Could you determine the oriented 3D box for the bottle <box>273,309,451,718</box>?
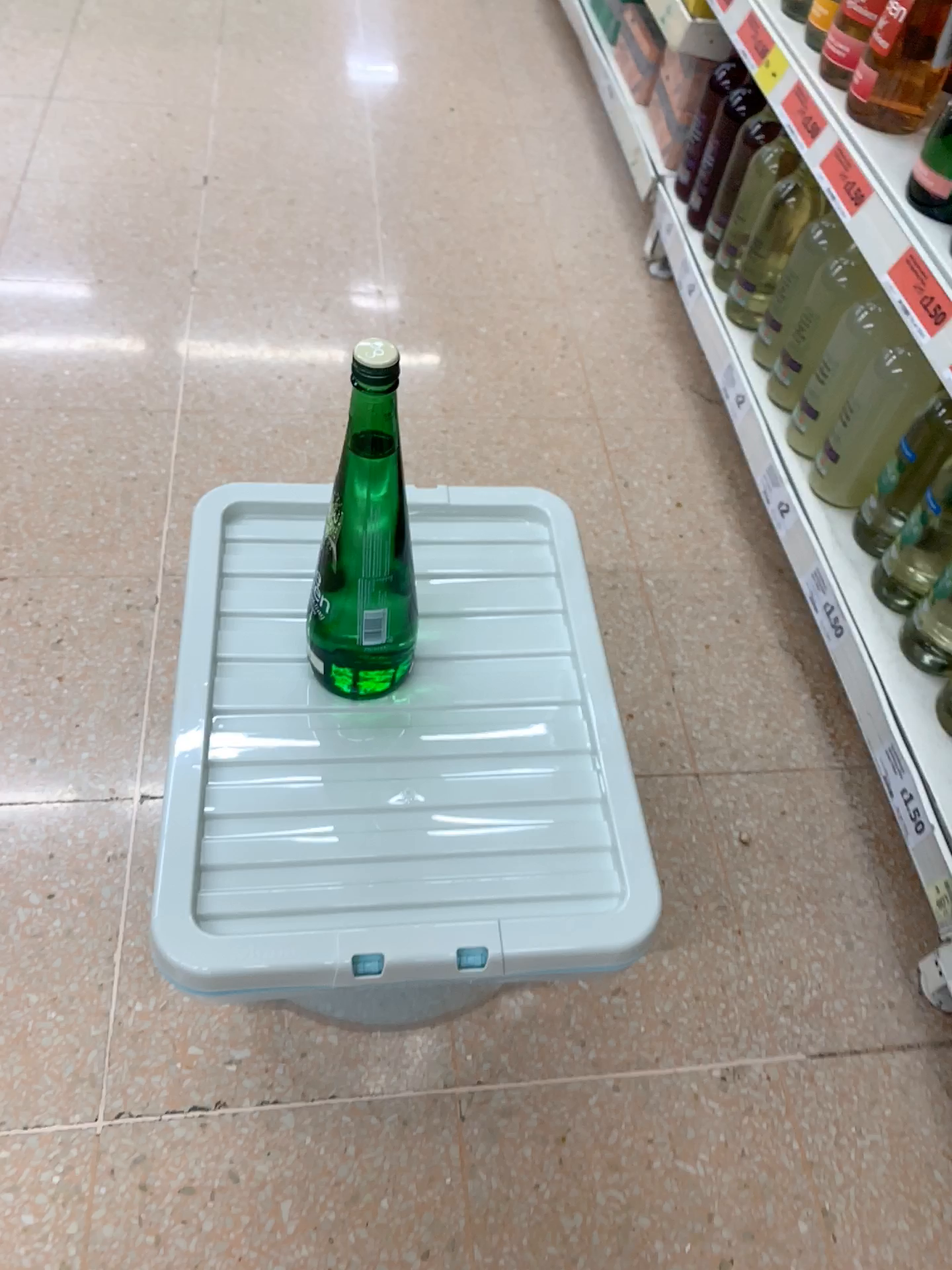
[{"bbox_3d":[-0.079,-0.064,0.671,0.093,0.298,0.085,4,52,-5],"label":"bottle"}]
